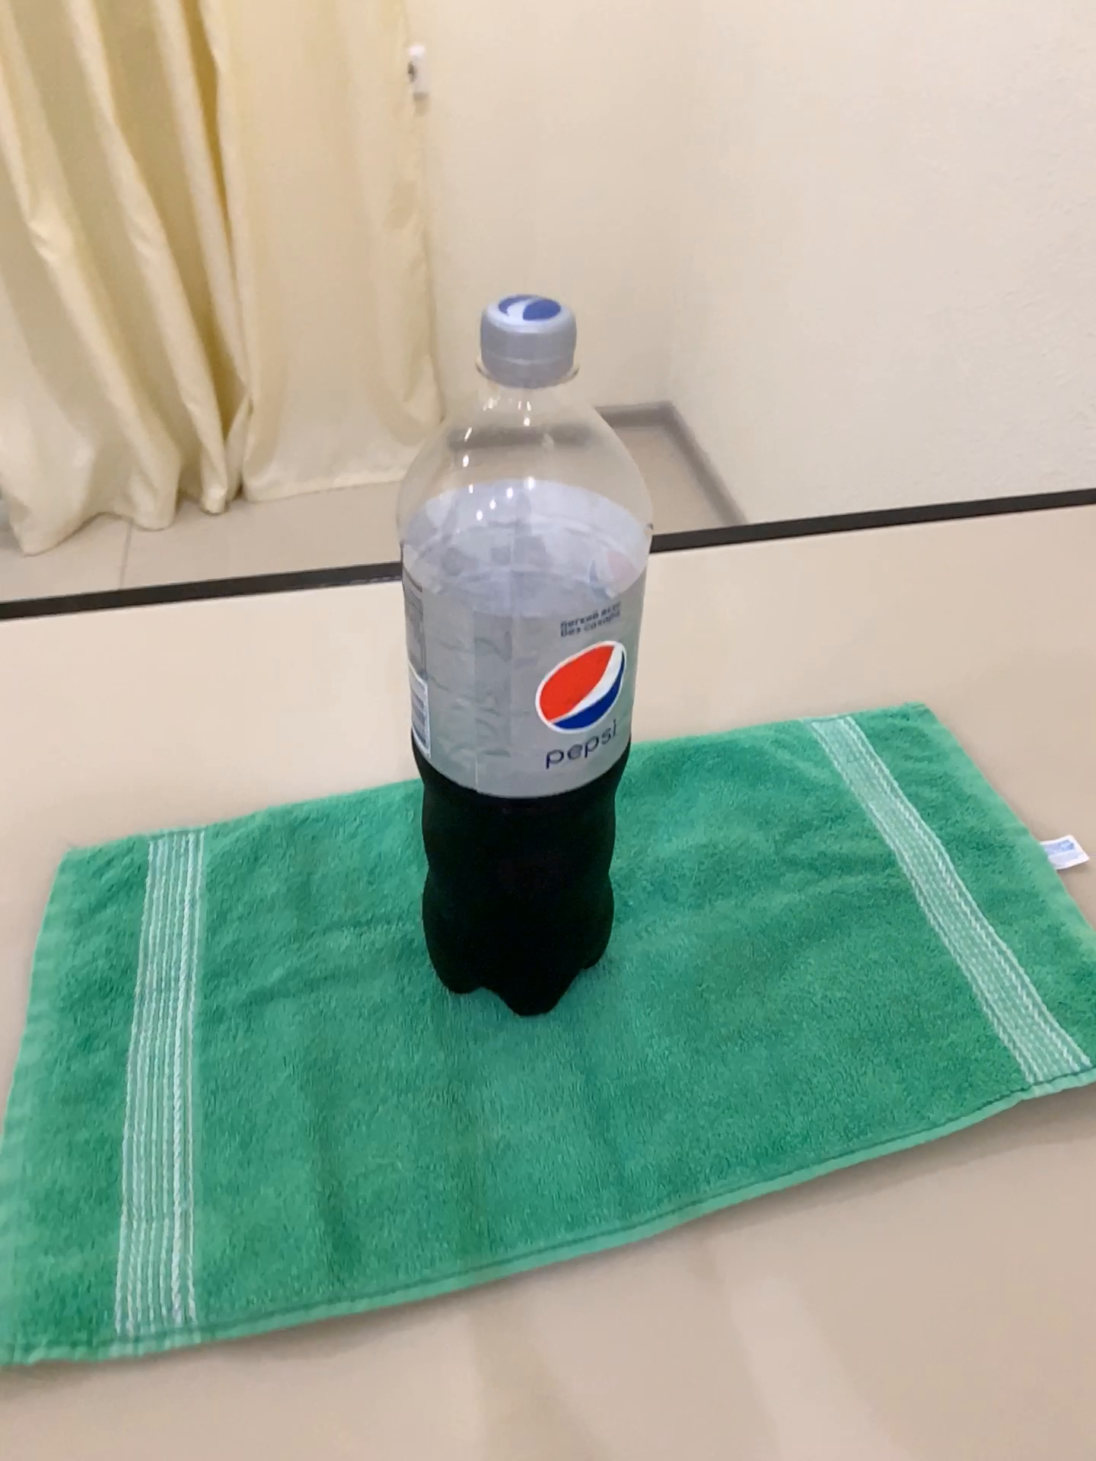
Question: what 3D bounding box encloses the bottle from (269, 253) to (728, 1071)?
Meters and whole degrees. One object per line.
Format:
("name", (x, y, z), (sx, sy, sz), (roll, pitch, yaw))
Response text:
("bottle", (-0.016, -0.011, 0.445), (0.100, 0.298, 0.100), (0, 41, 0))
